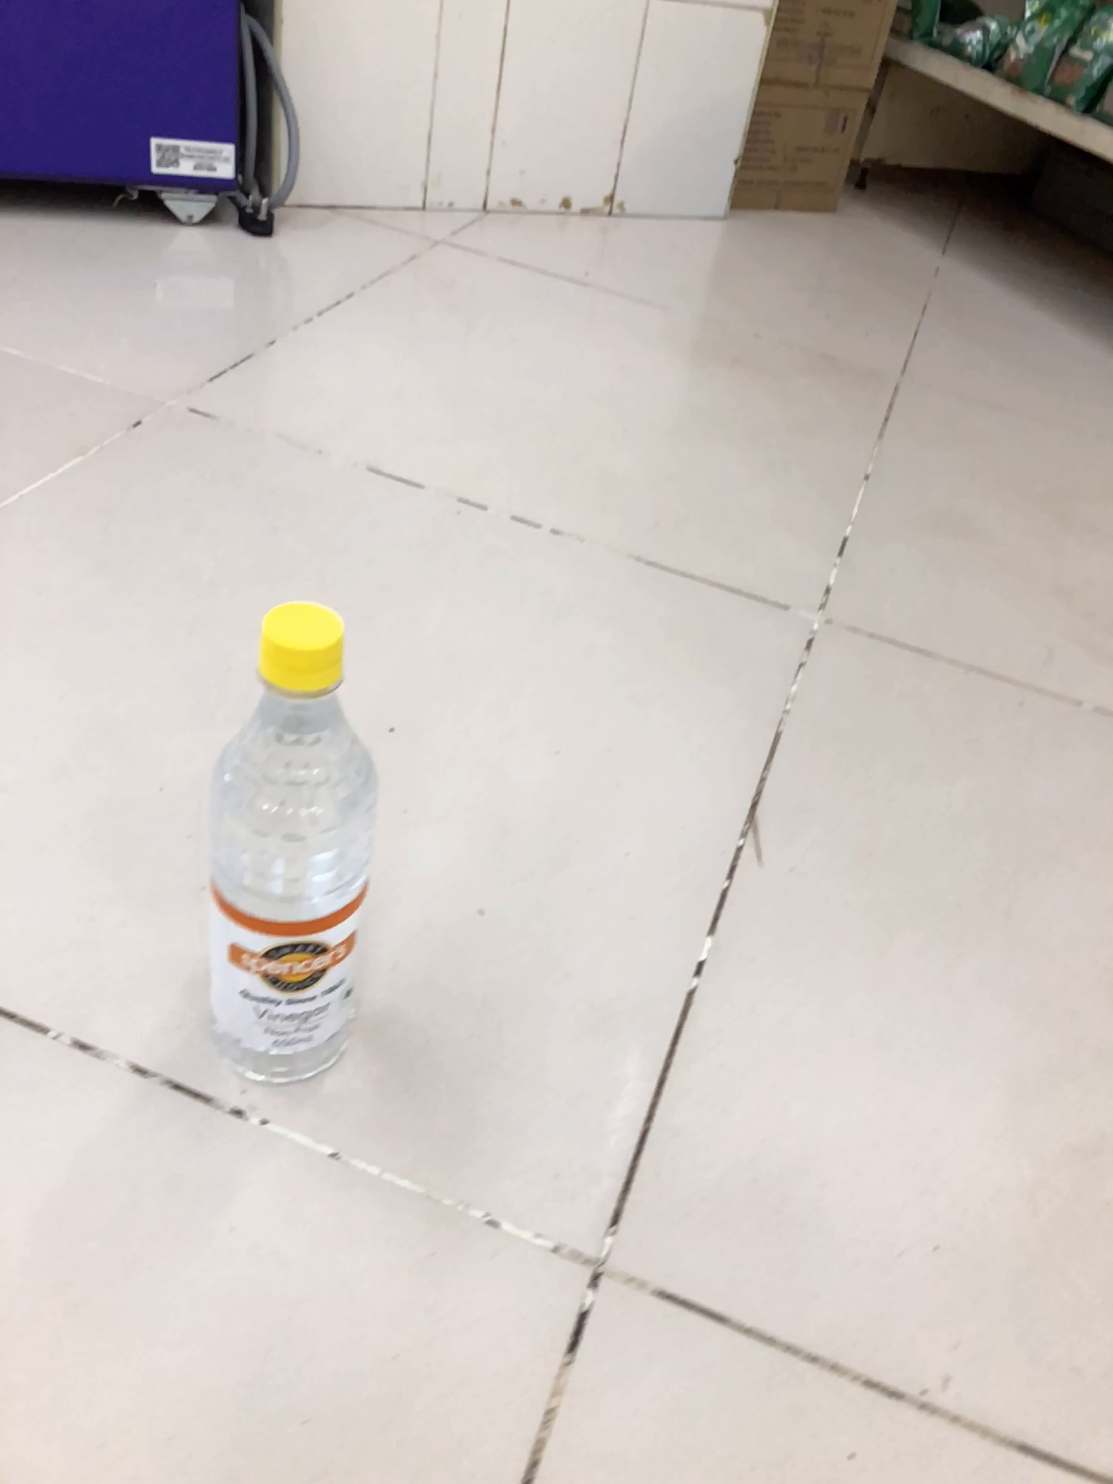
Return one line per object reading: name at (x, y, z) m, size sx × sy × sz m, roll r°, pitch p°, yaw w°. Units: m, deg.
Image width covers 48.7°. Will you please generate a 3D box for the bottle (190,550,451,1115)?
bottle at (-0.106, 0.045, 0.513) m, size 0.080 × 0.239 × 0.080 m, roll 8°, pitch 38°, yaw -6°
